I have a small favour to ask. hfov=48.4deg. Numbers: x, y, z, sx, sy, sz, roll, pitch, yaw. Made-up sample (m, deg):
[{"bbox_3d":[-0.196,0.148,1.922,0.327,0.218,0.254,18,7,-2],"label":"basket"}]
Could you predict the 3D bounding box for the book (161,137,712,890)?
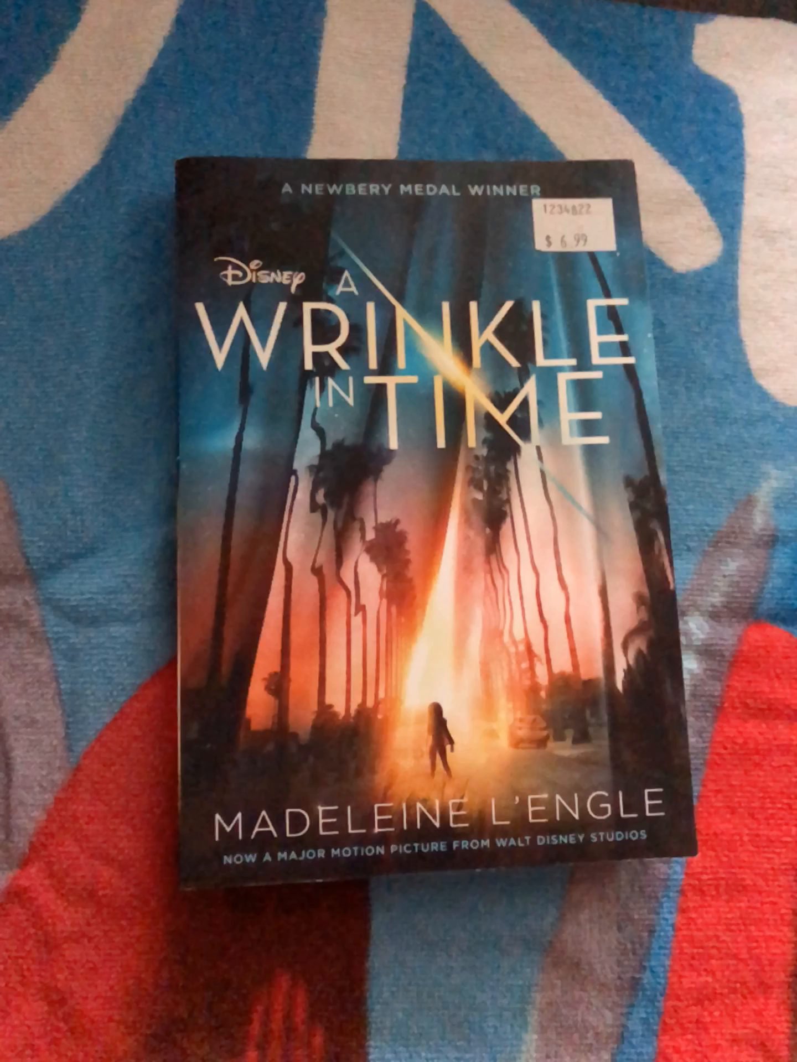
[{"bbox_3d":[0.008,-0.008,0.247,0.138,0.031,0.195,-1,83,-4],"label":"book"}]
